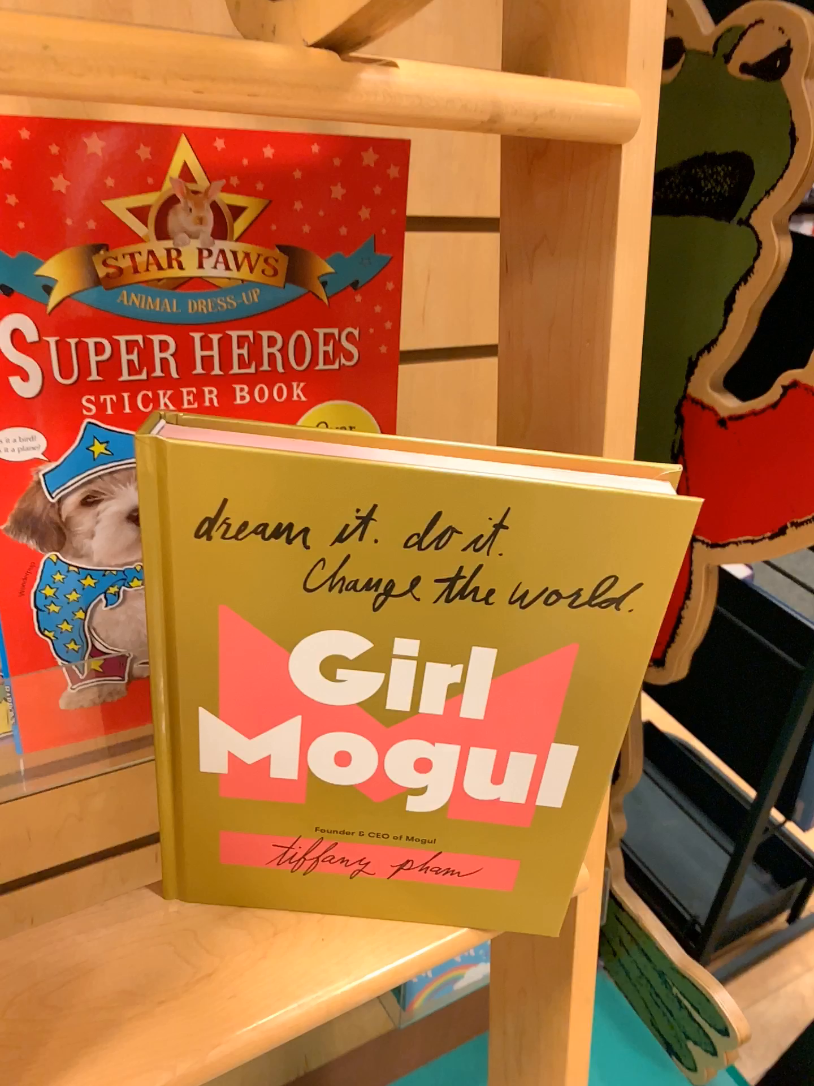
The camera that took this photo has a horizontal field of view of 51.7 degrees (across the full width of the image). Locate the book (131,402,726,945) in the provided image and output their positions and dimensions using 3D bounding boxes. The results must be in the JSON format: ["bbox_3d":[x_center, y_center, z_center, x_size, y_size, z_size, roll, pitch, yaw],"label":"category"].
[{"bbox_3d":[-0.004,0.065,0.320,0.180,0.219,0.030,6,30,-3],"label":"book"}]
